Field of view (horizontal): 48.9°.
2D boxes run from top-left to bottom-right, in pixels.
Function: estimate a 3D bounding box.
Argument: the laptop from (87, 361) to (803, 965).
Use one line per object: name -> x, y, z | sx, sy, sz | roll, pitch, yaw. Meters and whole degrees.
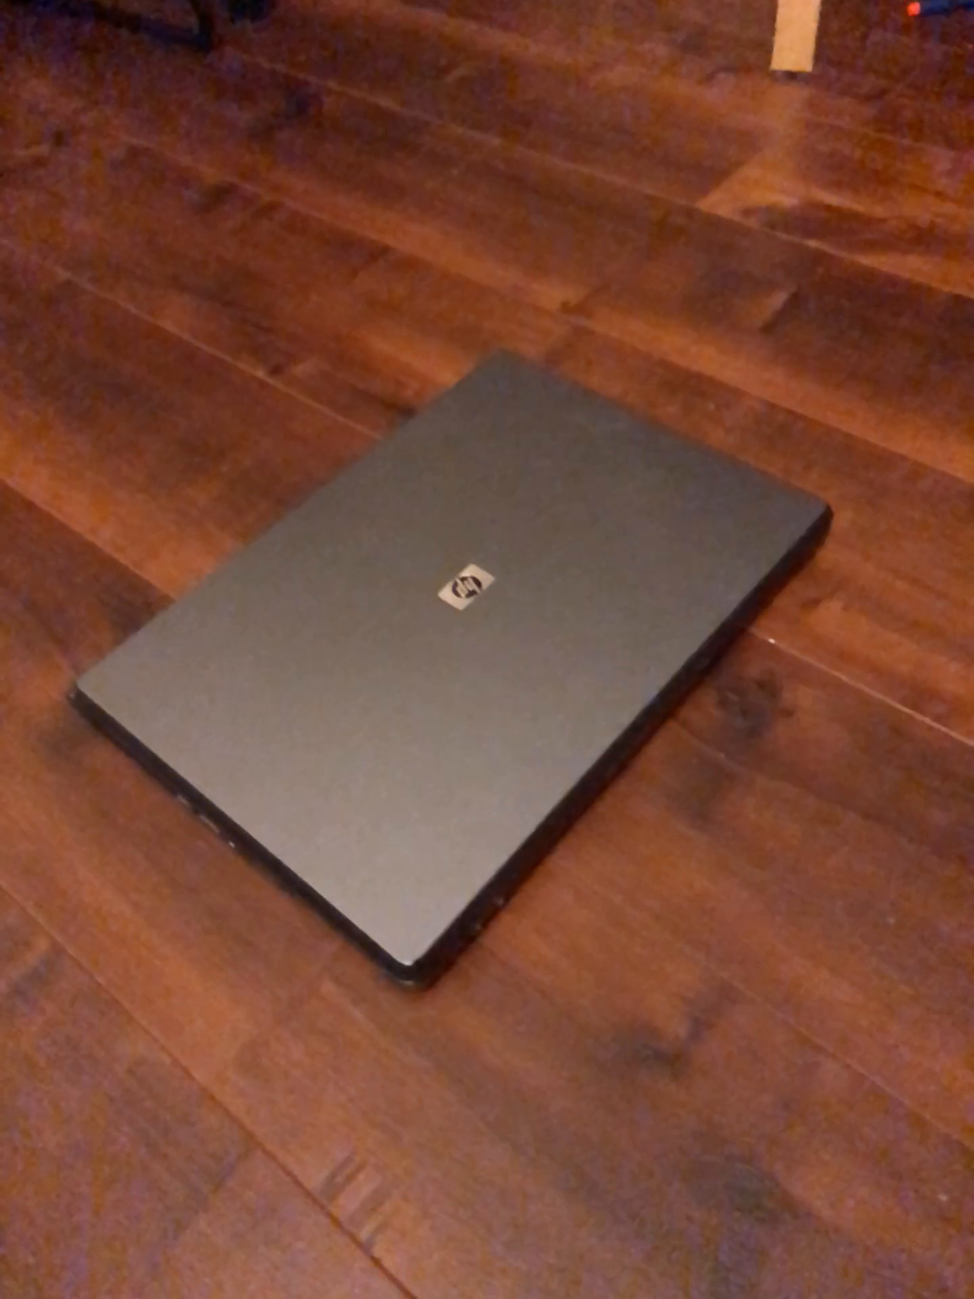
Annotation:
laptop -> -0.014, -0.026, 0.543 | 0.216, 0.005, 0.310 | 32, 61, 26
